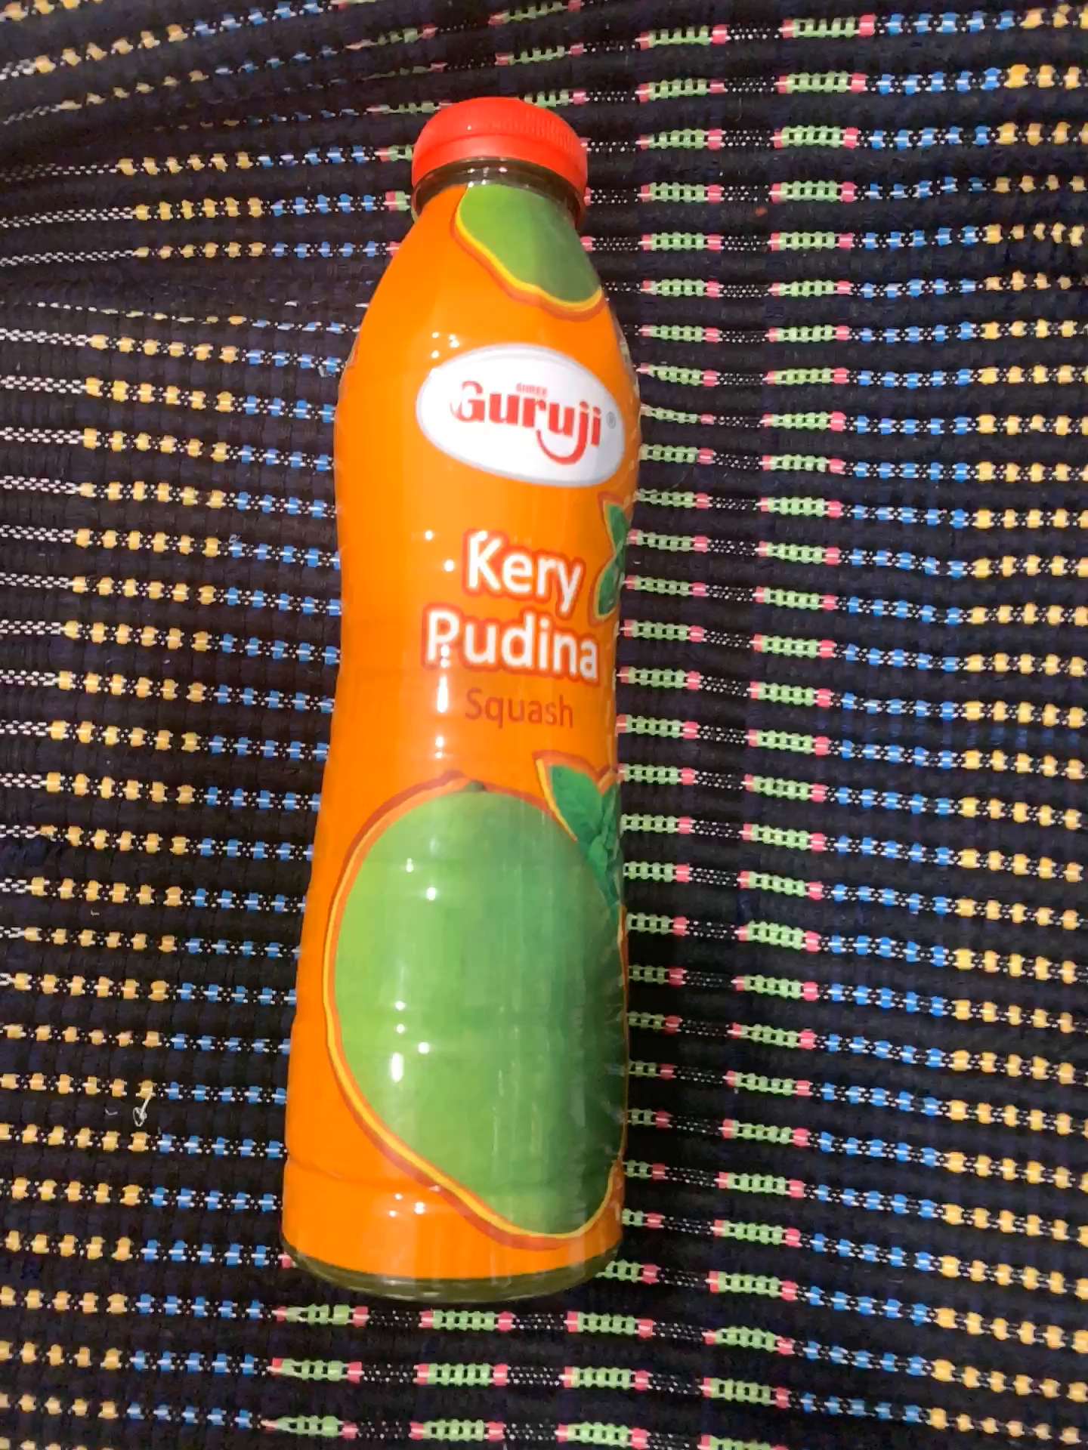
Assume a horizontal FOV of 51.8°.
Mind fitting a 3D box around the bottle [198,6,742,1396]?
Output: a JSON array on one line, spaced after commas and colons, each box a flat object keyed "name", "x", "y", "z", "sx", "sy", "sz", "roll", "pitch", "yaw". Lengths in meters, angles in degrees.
[{"name": "bottle", "x": -0.011, "y": -0.007, "z": 0.231, "sx": 0.070, "sy": 0.070, "sz": 0.230, "roll": 12, "pitch": 78, "yaw": -46}]
